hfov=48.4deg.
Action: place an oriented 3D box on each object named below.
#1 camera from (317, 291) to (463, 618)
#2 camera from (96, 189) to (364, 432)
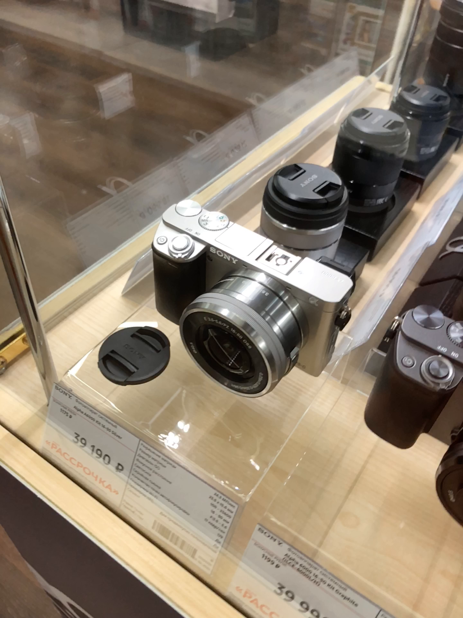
[{"bbox_3d":[0.119,0.062,0.244,0.127,0.061,0.076,29,51,23],"label":"camera"},{"bbox_3d":[-0.003,-0.005,0.299,0.124,0.061,0.076,29,51,23],"label":"camera"}]
